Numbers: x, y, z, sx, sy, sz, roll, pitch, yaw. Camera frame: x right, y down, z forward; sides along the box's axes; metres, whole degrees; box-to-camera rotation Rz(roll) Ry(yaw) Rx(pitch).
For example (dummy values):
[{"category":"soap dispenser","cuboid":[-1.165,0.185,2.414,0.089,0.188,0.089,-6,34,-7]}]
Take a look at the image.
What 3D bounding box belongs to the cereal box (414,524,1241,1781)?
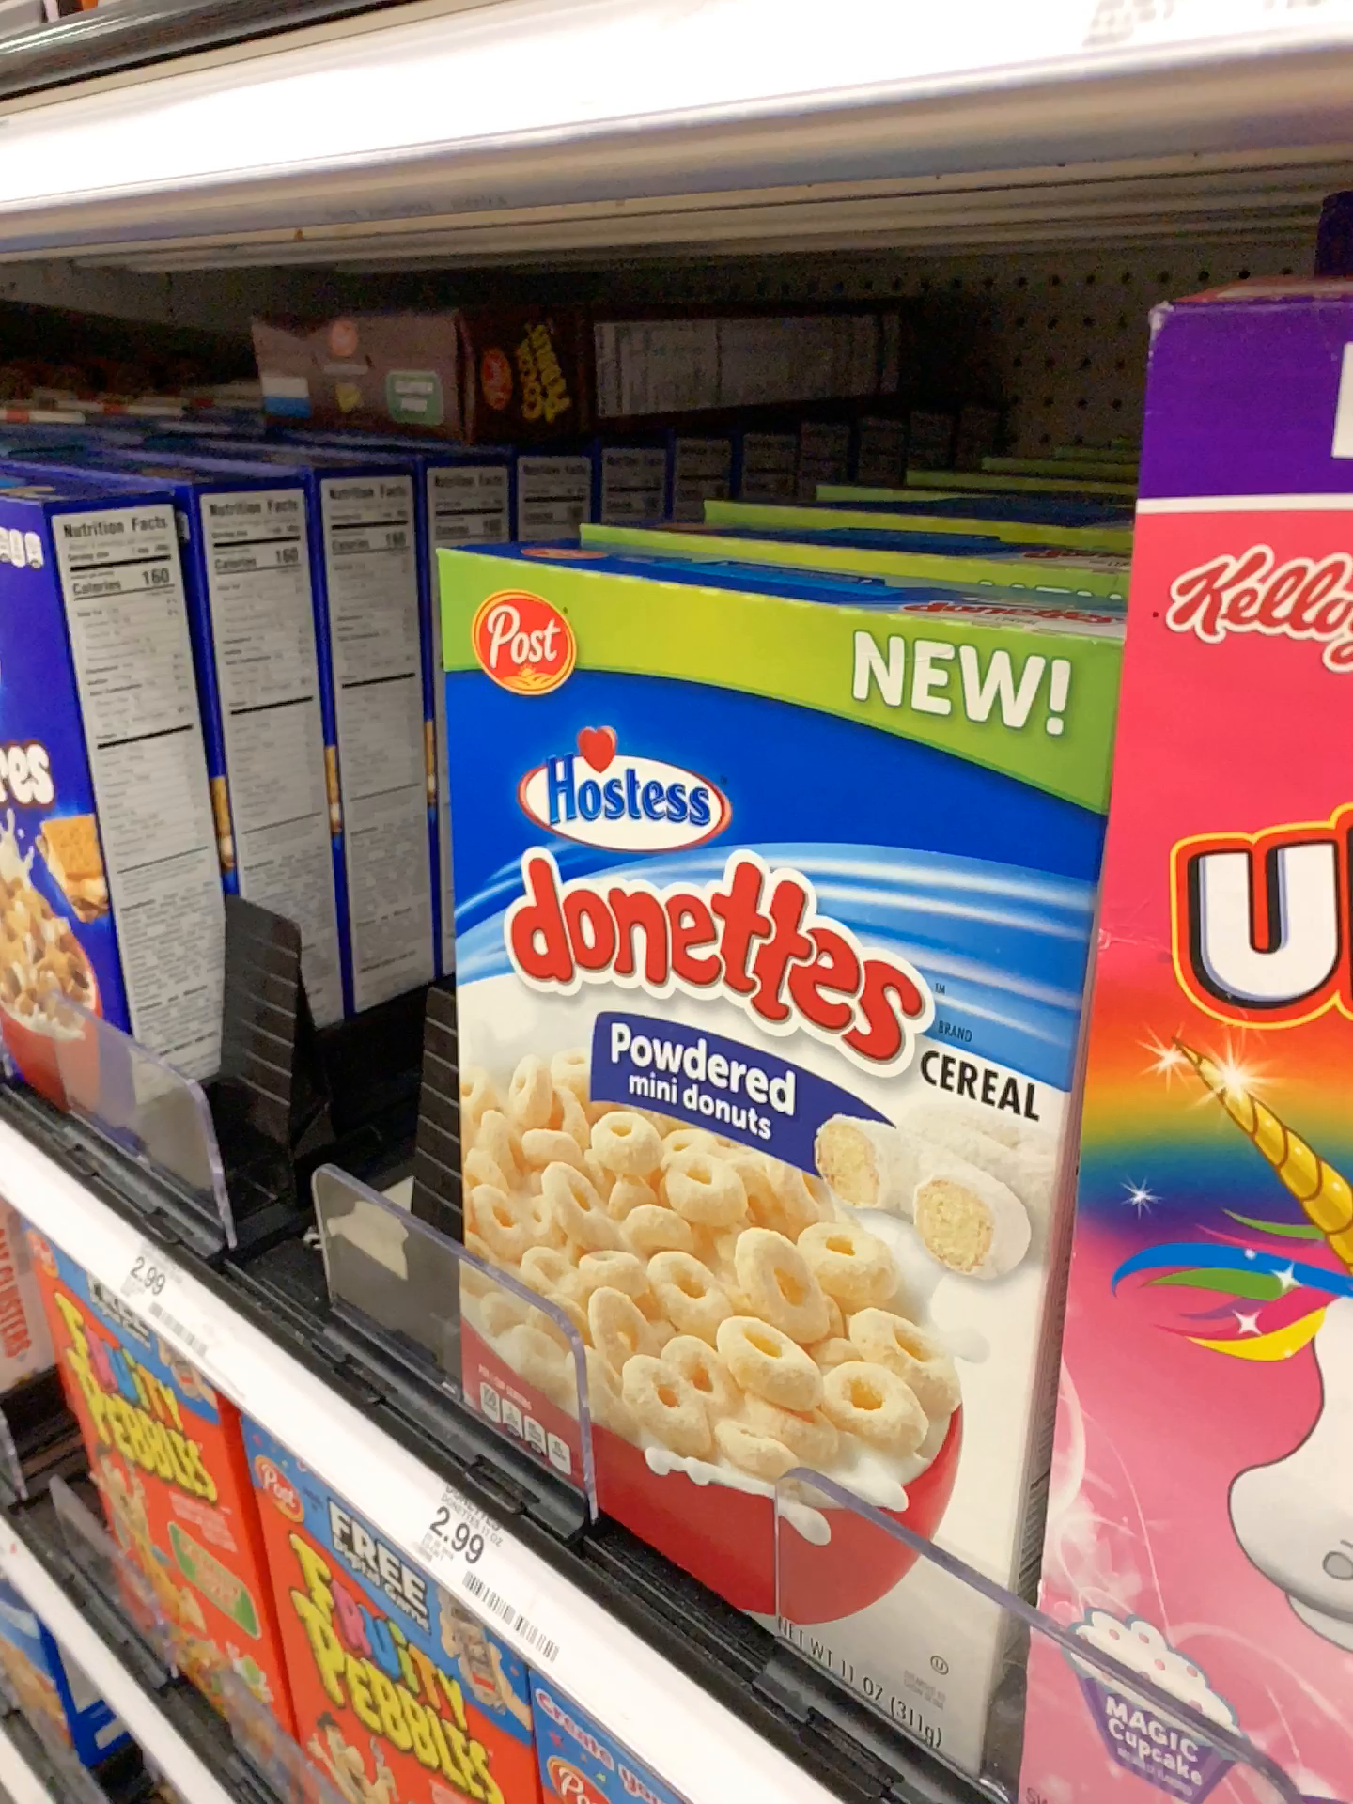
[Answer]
[{"category":"cereal box","cuboid":[0.020,0.049,0.365,0.190,0.269,0.060,18,26,39]}]
